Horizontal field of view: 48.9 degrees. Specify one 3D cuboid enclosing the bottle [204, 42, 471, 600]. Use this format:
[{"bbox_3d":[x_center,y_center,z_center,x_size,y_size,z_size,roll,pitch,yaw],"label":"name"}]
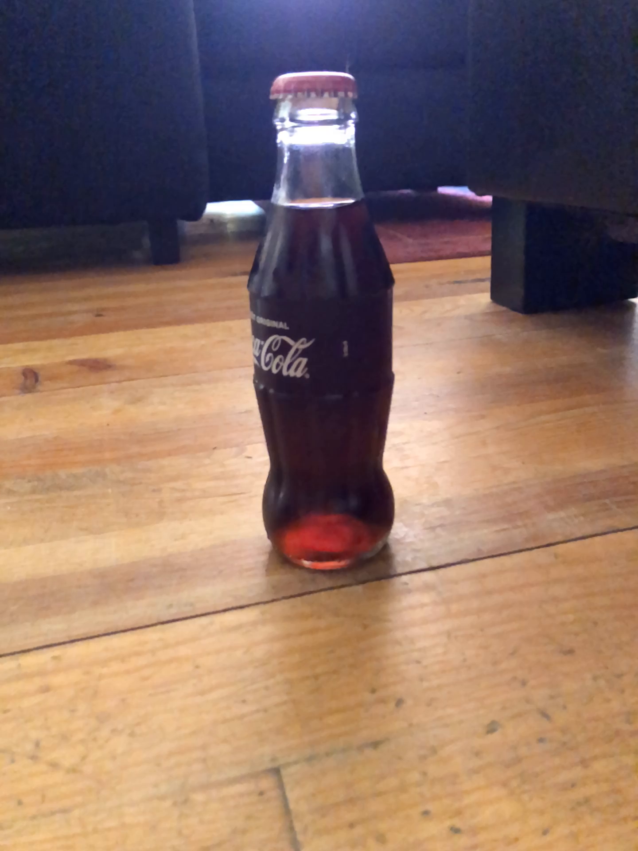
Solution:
[{"bbox_3d":[0.007,-0.035,0.246,0.060,0.169,0.060,-2,22,1],"label":"bottle"}]
